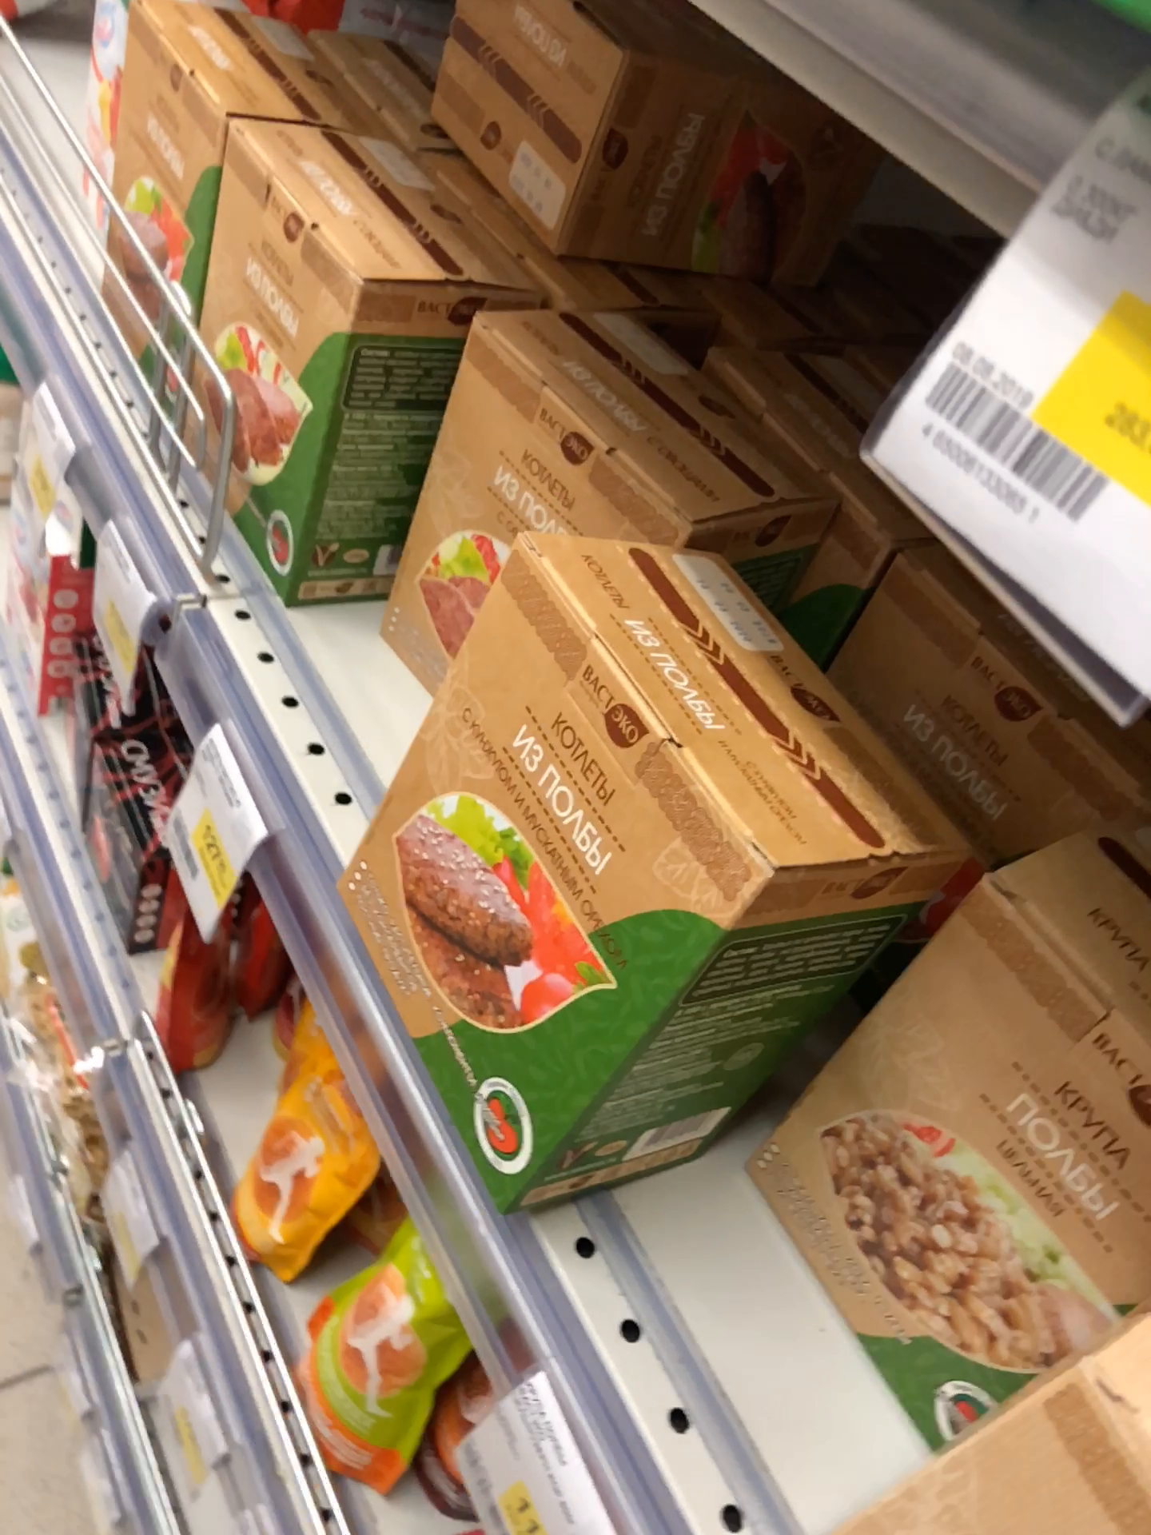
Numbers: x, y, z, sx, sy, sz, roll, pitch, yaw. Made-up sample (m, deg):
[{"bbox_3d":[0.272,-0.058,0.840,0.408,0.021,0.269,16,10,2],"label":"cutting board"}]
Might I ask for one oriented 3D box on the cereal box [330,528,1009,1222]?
[{"bbox_3d":[0.016,0.028,0.365,0.090,0.139,0.120,-2,47,-41],"label":"cereal box"}]
